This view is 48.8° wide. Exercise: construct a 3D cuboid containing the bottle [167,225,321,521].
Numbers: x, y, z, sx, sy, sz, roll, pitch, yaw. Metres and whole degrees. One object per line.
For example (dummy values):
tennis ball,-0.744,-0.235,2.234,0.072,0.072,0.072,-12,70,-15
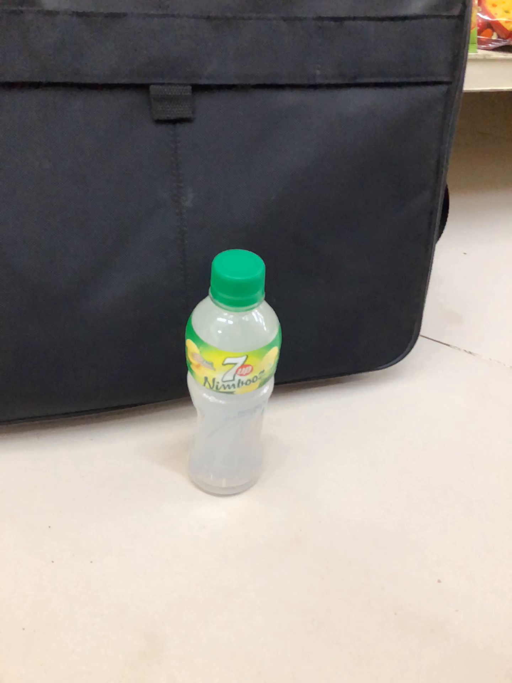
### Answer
bottle,-0.016,0.028,0.363,0.070,0.189,0.070,3,41,-3
